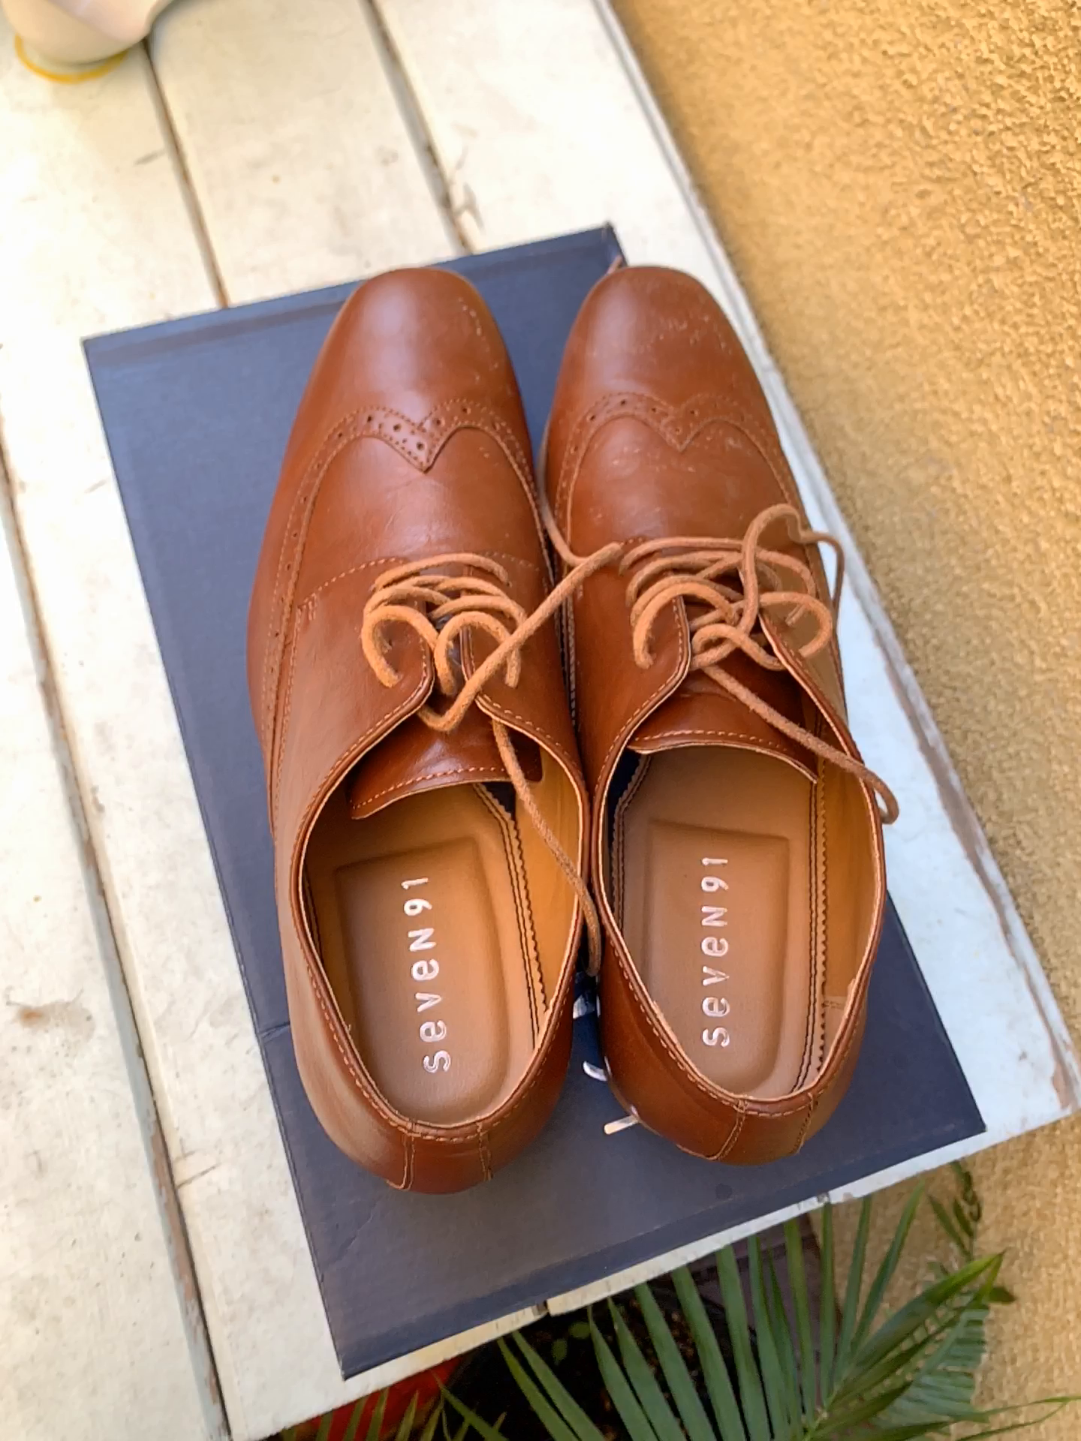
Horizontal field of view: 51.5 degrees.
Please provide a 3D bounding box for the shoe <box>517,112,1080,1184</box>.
[{"bbox_3d":[0.059,-0.028,0.347,0.110,0.100,0.301,-2,73,-6],"label":"shoe"}]

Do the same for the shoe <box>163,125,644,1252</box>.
[{"bbox_3d":[-0.042,-0.018,0.336,0.104,0.100,0.301,-2,73,-6],"label":"shoe"}]
